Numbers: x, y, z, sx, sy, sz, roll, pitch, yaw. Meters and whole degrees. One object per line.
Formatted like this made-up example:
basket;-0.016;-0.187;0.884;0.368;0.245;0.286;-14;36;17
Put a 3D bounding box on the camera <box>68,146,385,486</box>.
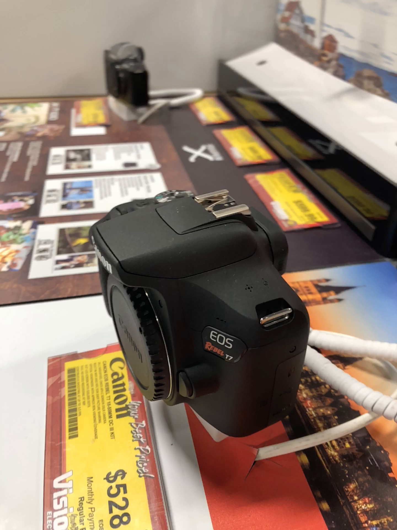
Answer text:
camera;0.001;0.010;0.223;0.090;0.089;0.131;-15;37;-22
